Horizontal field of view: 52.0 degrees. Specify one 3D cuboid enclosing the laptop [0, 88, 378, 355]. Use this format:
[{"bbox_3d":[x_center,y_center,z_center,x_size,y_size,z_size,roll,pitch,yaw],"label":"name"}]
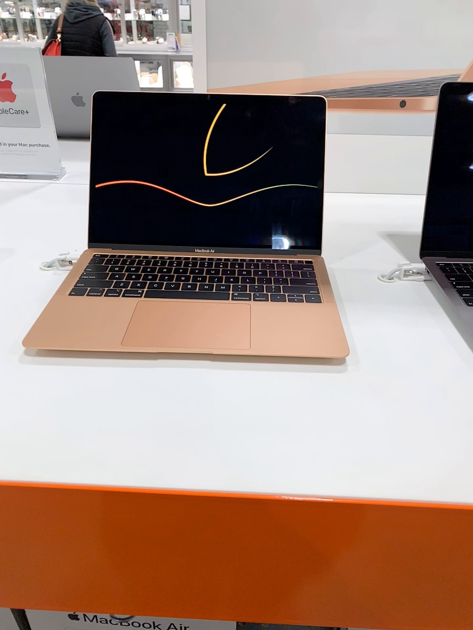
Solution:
[{"bbox_3d":[-0.042,-0.125,0.525,0.293,0.170,0.311,2,33,0],"label":"laptop"}]
